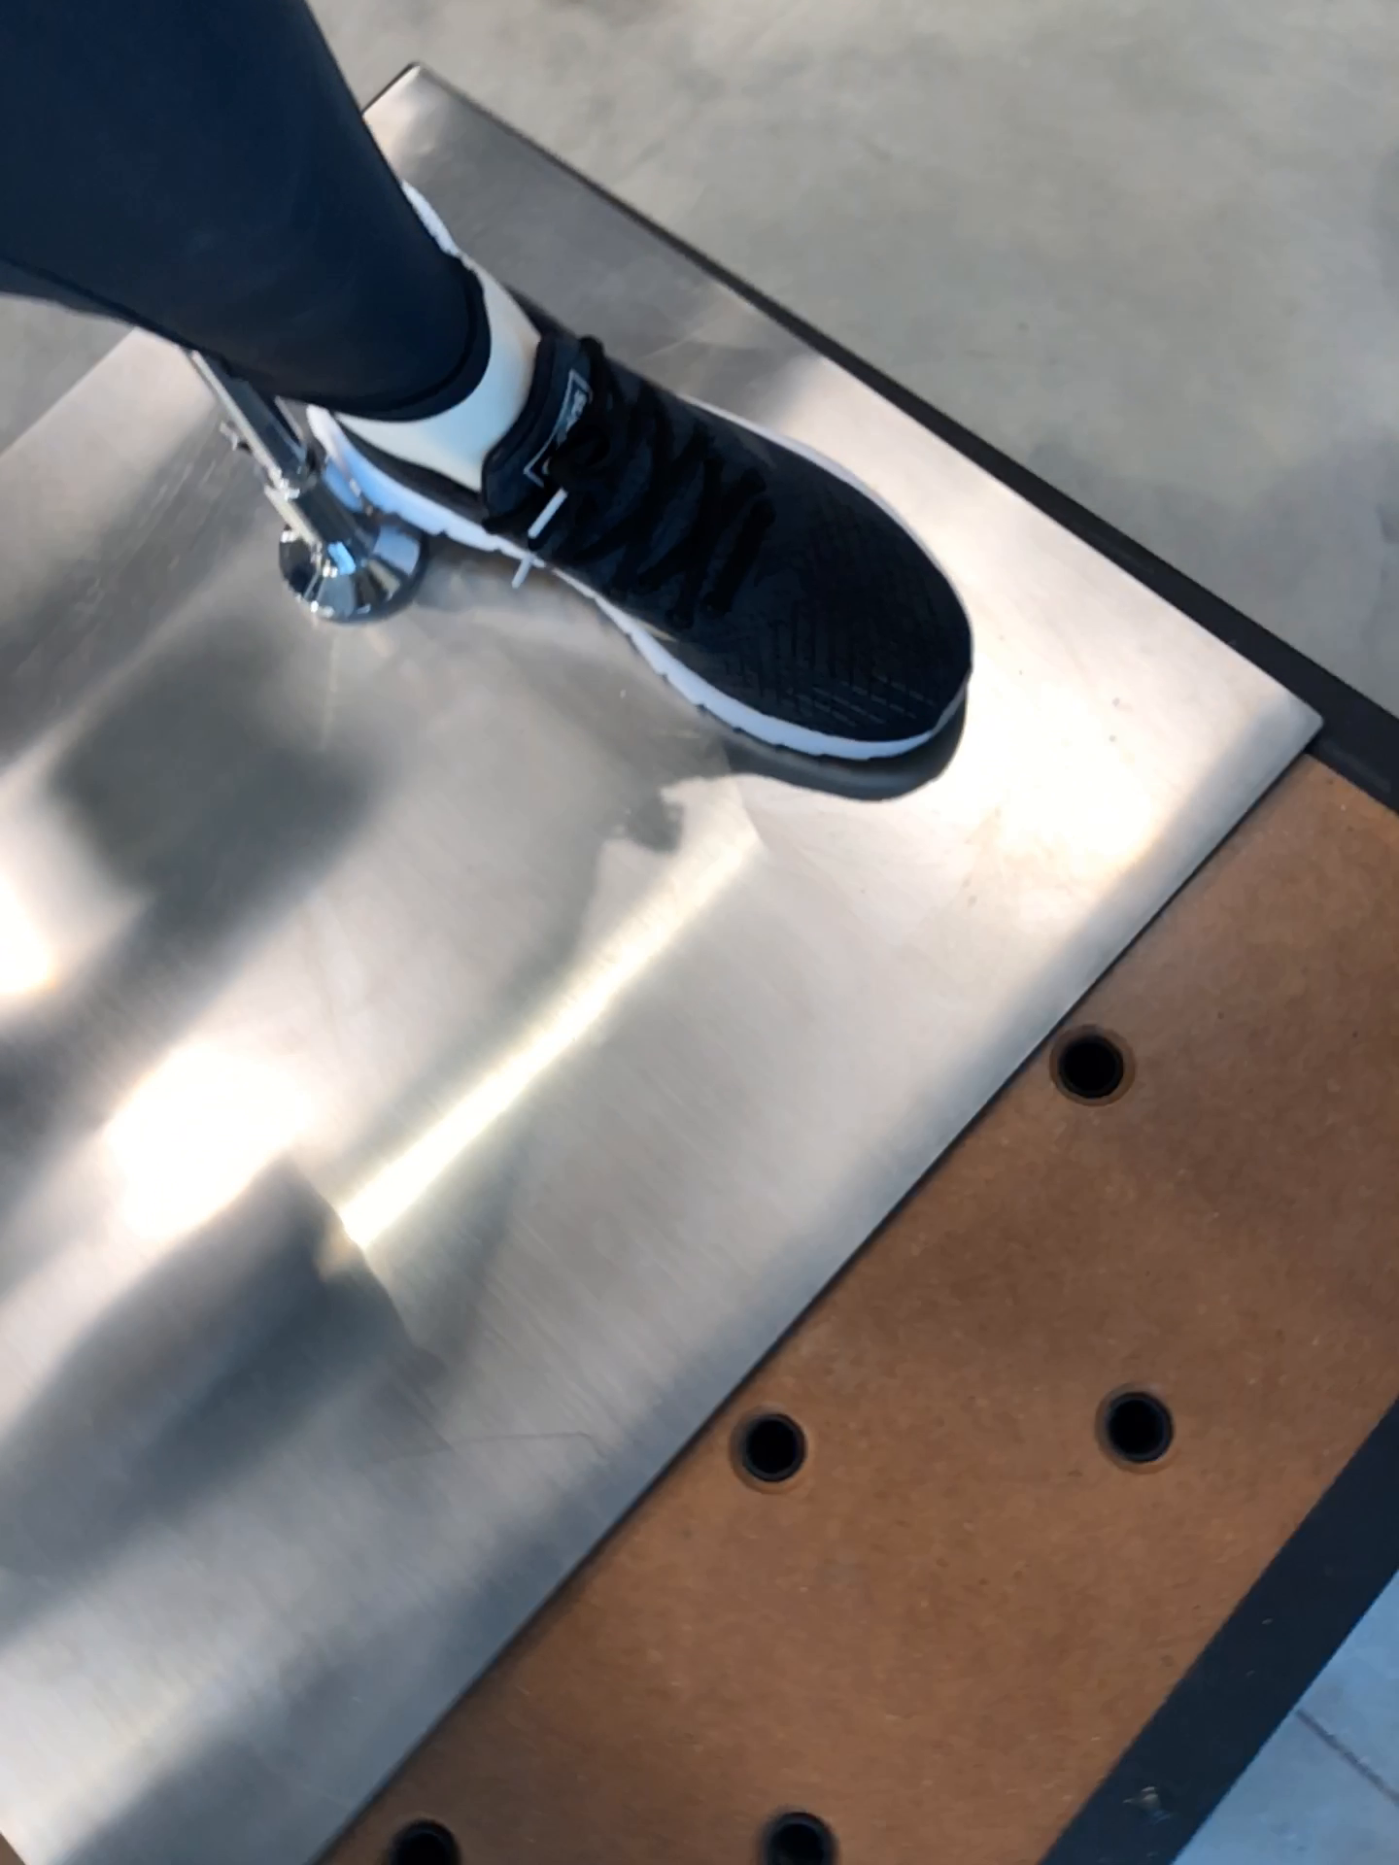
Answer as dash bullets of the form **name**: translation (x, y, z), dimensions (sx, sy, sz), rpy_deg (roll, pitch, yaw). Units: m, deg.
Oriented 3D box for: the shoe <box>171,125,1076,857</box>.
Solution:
- **shoe**: translation (-0.025, -0.154, 0.567), dimensions (0.290, 0.100, 0.110), rpy_deg (31, 90, 8)
